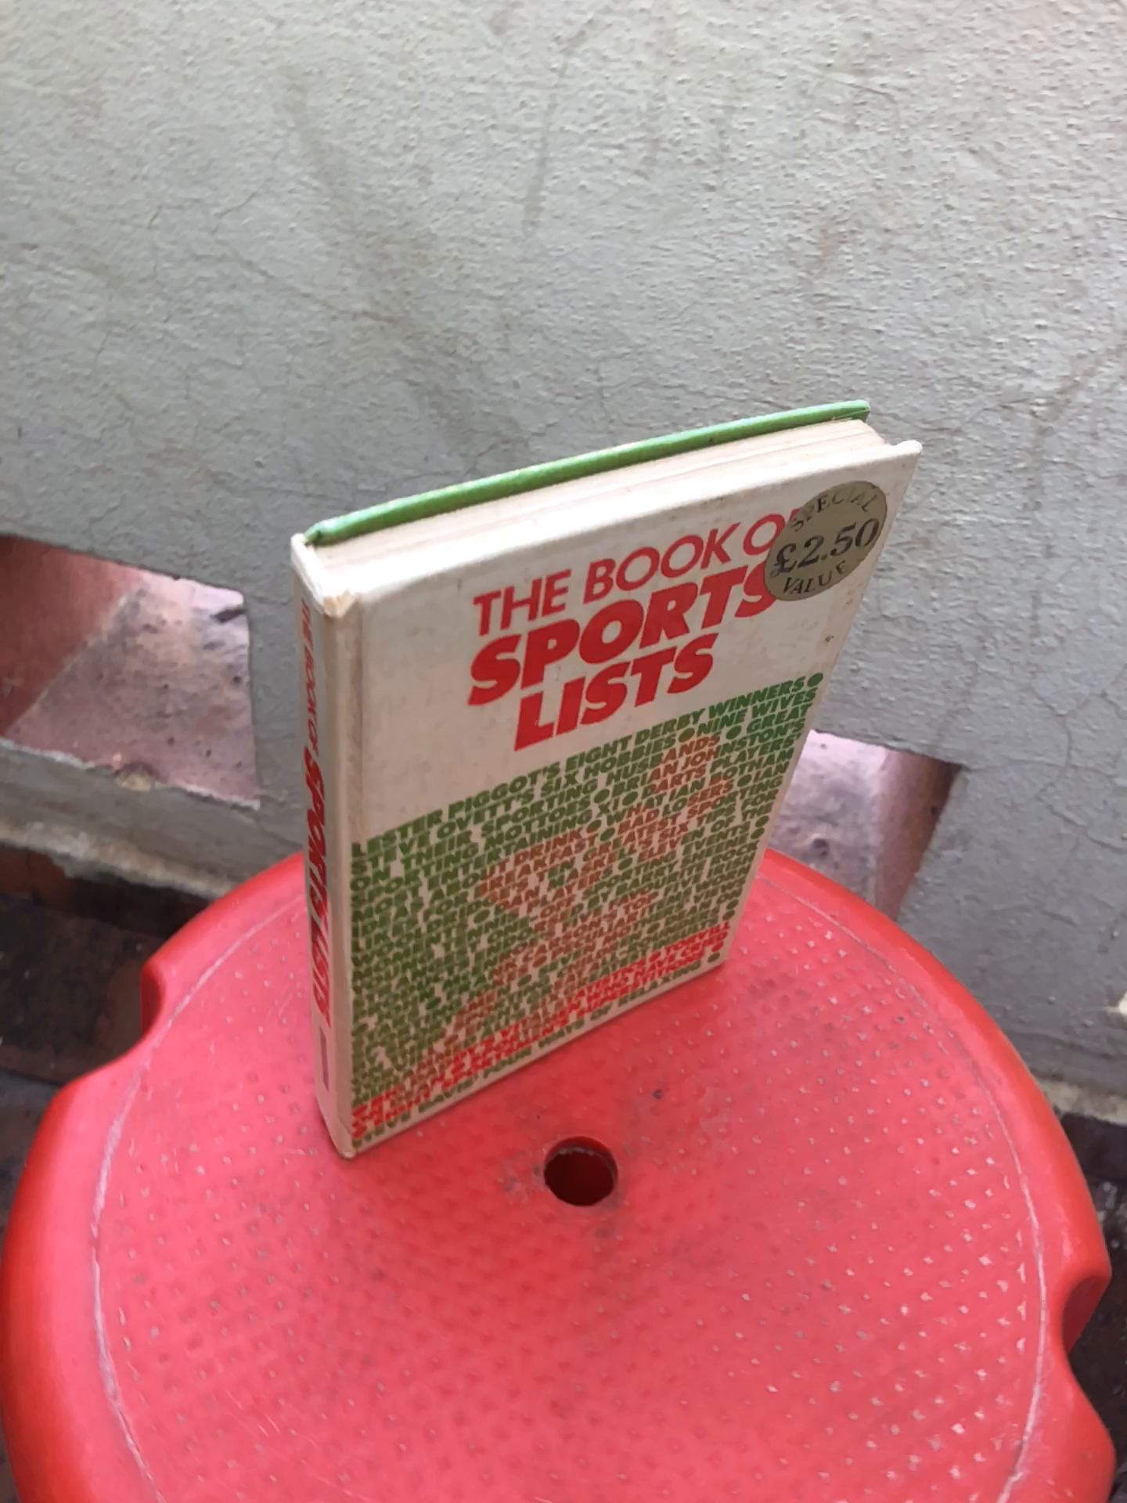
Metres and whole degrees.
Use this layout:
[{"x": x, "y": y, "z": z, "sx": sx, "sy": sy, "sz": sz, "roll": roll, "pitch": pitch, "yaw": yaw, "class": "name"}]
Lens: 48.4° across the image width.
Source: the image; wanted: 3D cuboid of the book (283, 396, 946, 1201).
[{"x": 0.003, "y": 0.023, "z": 0.339, "sx": 0.150, "sy": 0.219, "sz": 0.030, "roll": -19, "pitch": 51, "yaw": -28, "class": "book"}]
